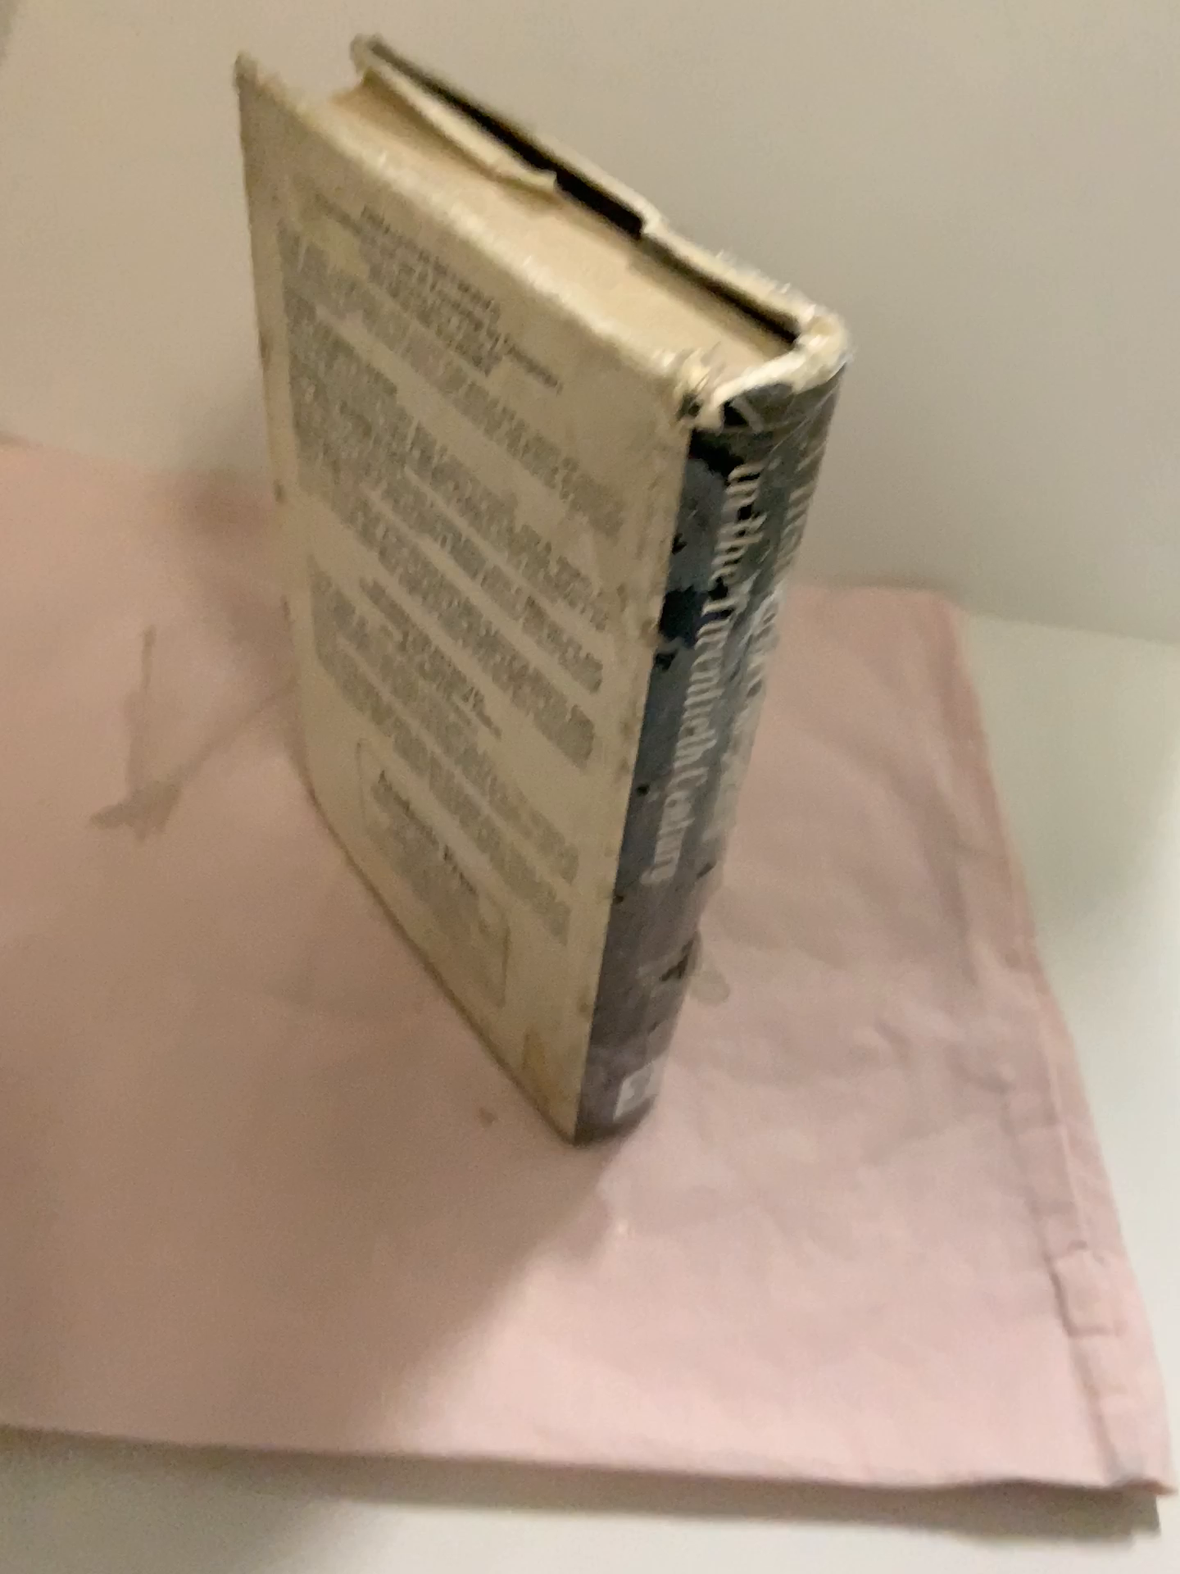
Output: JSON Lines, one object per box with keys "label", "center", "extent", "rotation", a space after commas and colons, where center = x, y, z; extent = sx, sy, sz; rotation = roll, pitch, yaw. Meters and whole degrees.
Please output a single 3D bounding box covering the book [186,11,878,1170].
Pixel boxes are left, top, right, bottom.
{"label": "book", "center": [-0.030, -0.034, 0.321], "extent": [0.042, 0.247, 0.168], "rotation": [-26, 55, -27]}
